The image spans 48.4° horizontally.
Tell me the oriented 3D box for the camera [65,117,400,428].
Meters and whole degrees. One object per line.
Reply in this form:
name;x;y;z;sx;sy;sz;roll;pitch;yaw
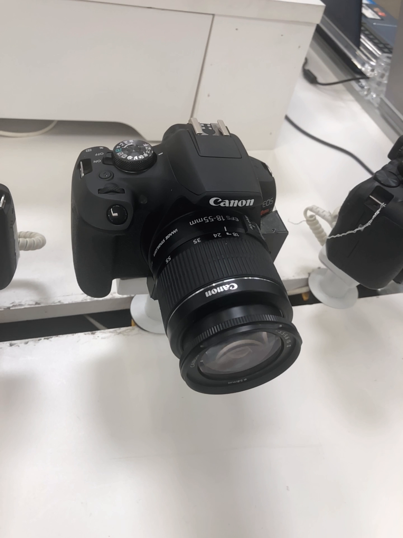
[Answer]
camera;0.000;-0.007;0.252;0.130;0.092;0.132;-7;51;-20
